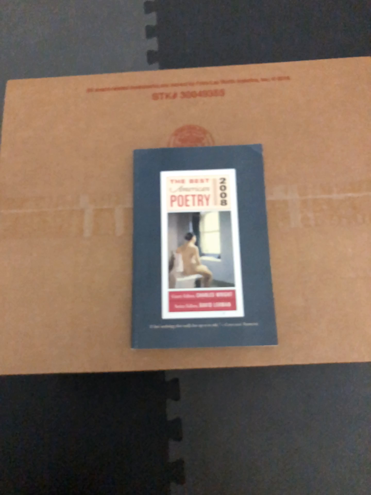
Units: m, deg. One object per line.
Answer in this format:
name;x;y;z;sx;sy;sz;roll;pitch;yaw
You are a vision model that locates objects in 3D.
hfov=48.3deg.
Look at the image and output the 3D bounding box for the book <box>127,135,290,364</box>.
book;0.017;-0.003;0.426;0.150;0.020;0.230;-3;74;2
